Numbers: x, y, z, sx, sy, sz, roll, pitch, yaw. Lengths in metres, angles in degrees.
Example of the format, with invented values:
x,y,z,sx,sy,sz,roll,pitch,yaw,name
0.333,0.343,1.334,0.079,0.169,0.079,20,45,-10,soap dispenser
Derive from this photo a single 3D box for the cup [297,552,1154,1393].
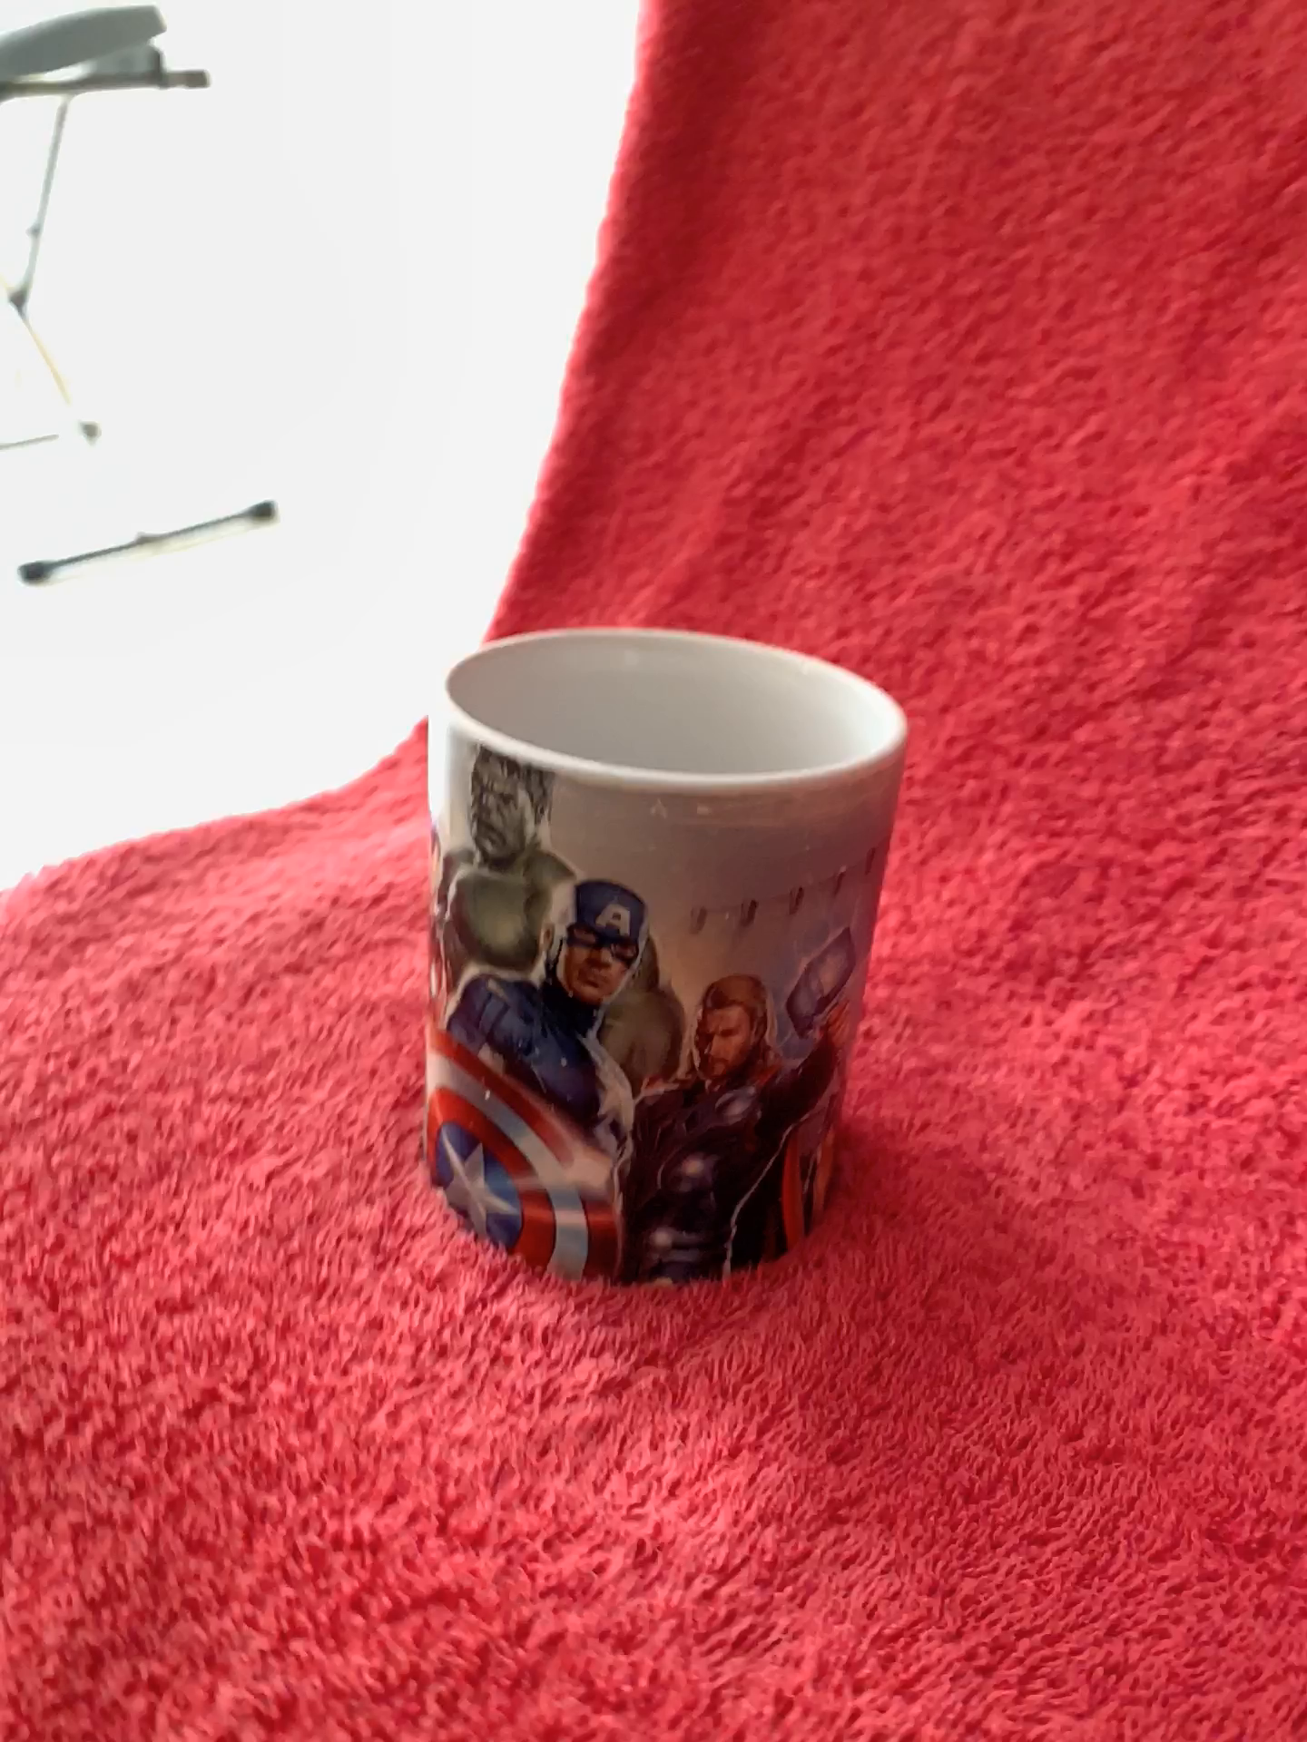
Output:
x,y,z,sx,sy,sz,roll,pitch,yaw,name
0.012,0.005,0.255,0.090,0.089,0.120,30,36,35,cup
